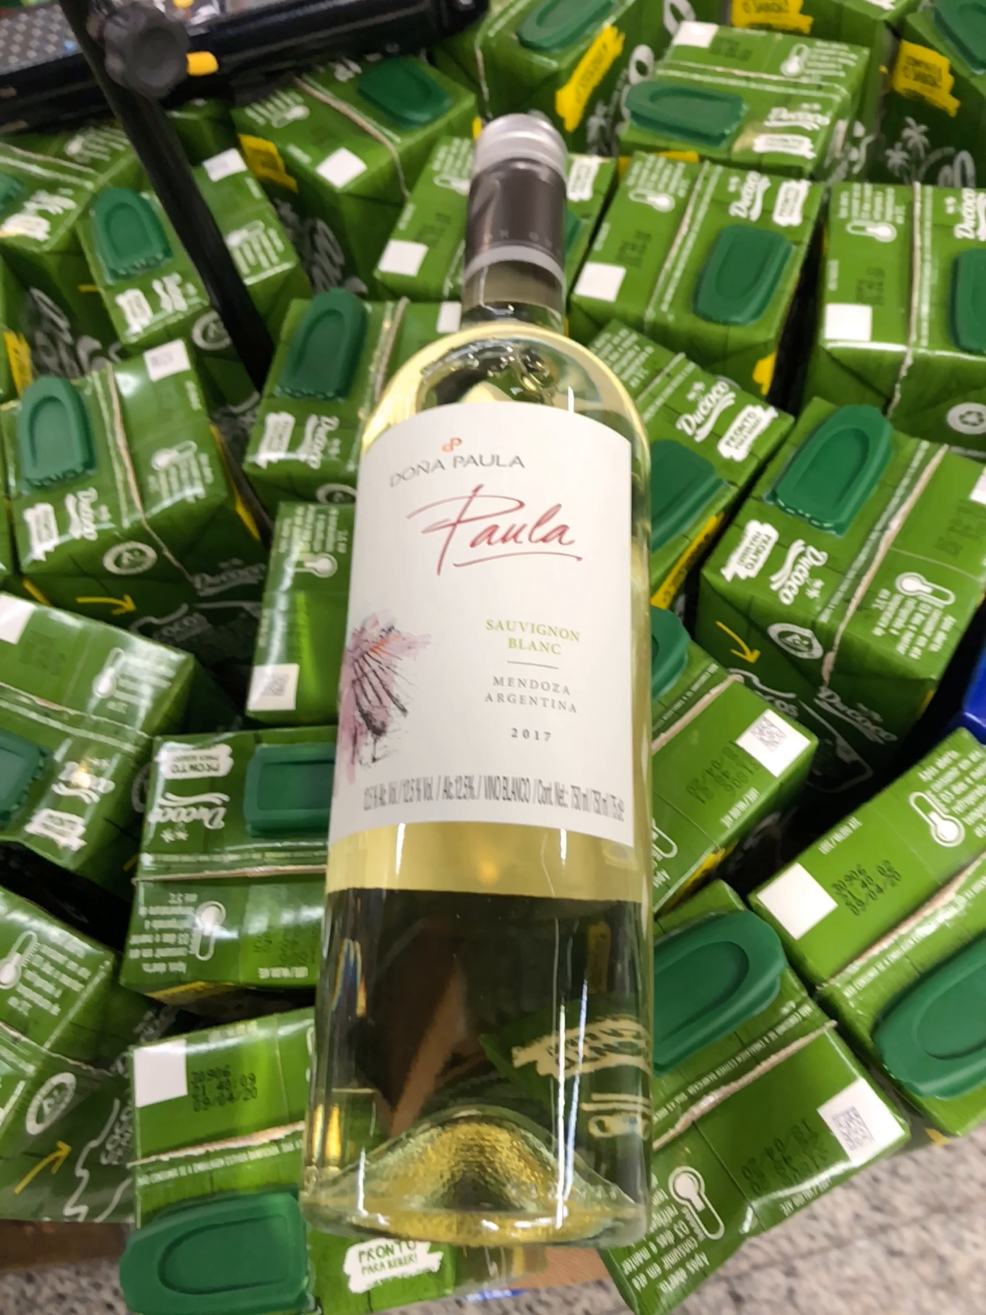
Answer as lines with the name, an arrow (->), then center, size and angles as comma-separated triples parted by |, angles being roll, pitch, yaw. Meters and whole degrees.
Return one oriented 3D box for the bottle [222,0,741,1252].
bottle -> 0.009, -0.043, 0.274 | 0.080, 0.070, 0.331 | -1, 62, 8
